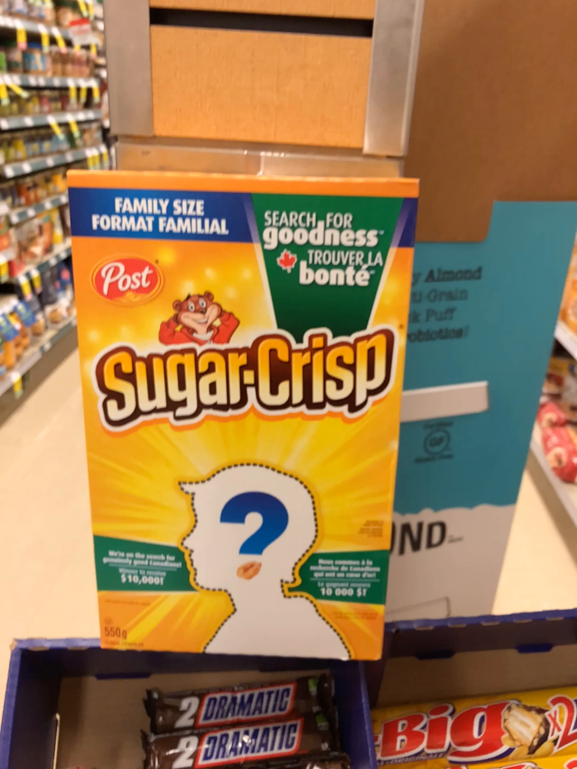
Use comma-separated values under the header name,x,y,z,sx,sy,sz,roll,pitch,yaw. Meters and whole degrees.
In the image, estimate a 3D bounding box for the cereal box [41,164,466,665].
name,x,y,z,sx,sy,sz,roll,pitch,yaw
cereal box,-0.022,0.021,0.411,0.220,0.299,0.080,2,16,1
